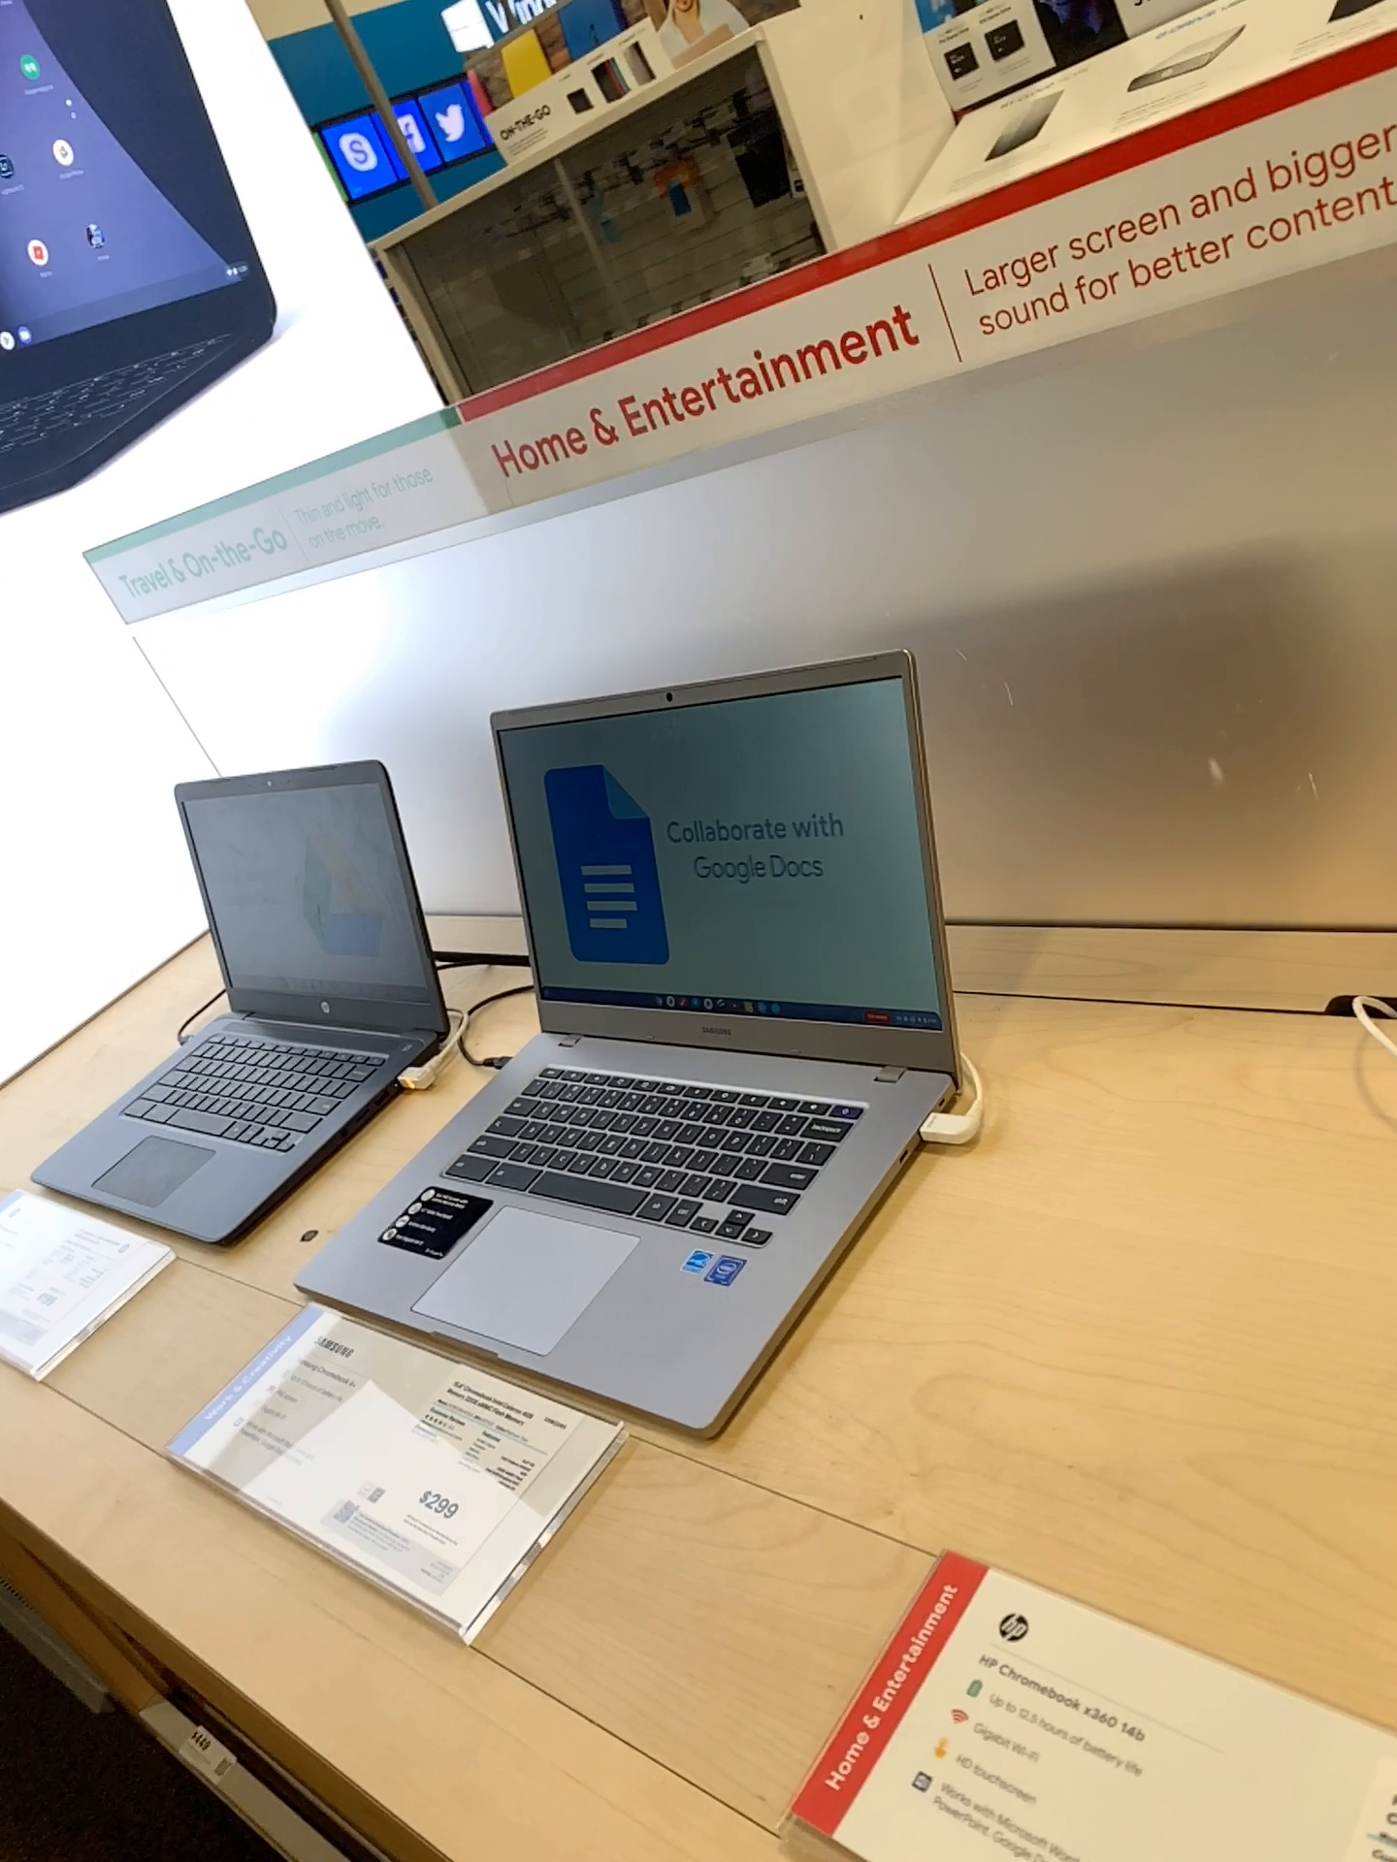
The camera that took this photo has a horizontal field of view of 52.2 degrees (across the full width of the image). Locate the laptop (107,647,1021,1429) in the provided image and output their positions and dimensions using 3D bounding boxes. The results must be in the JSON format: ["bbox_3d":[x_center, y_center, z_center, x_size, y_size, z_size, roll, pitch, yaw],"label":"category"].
[{"bbox_3d":[-0.072,0.036,0.793,0.341,0.200,0.325,1,37,45],"label":"laptop"}]

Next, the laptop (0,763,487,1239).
[{"bbox_3d":[-0.385,0.037,1.083,0.302,0.191,0.287,0,35,44],"label":"laptop"}]
